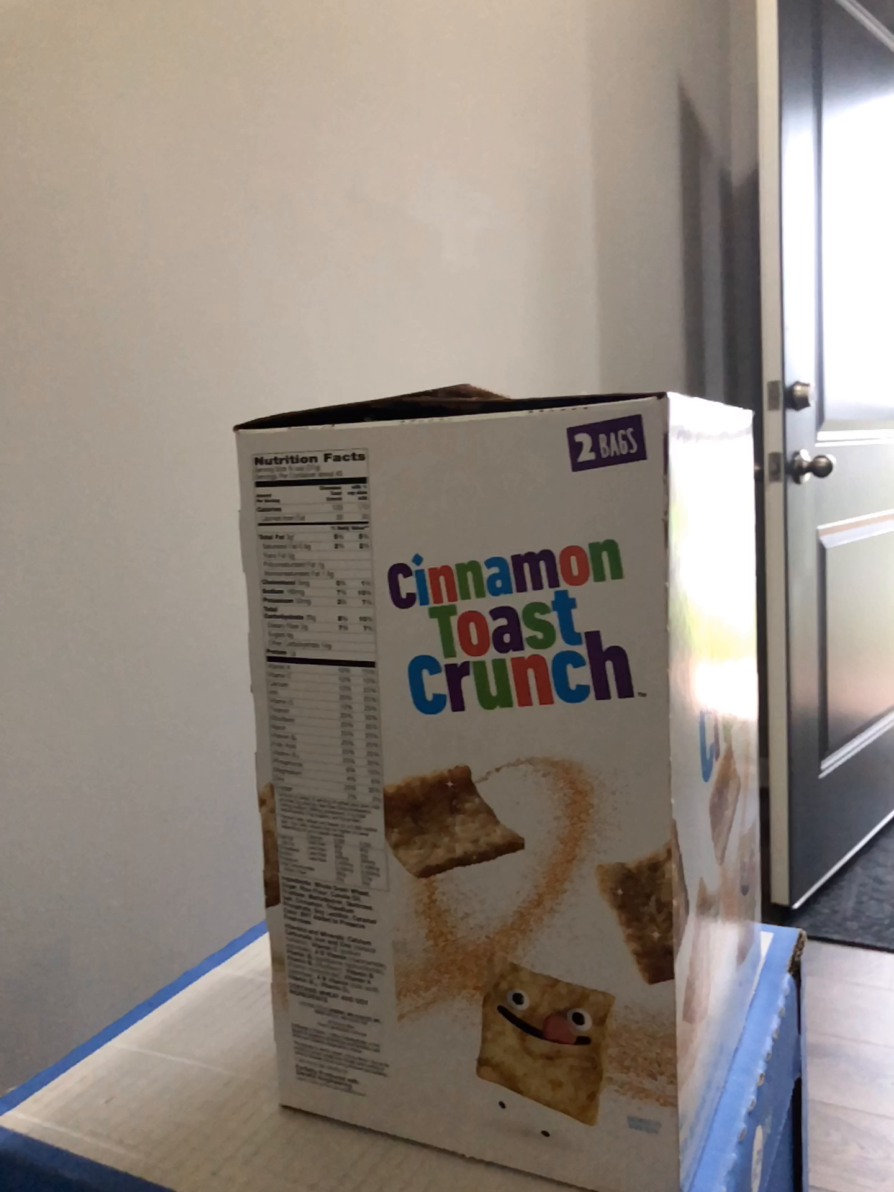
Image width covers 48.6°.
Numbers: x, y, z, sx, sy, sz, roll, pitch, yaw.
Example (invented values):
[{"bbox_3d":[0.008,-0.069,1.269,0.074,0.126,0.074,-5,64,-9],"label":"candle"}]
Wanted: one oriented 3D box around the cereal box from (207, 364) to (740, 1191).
[{"bbox_3d":[0.032,0.065,0.463,0.170,0.310,0.200,0,7,25],"label":"cereal box"}]
